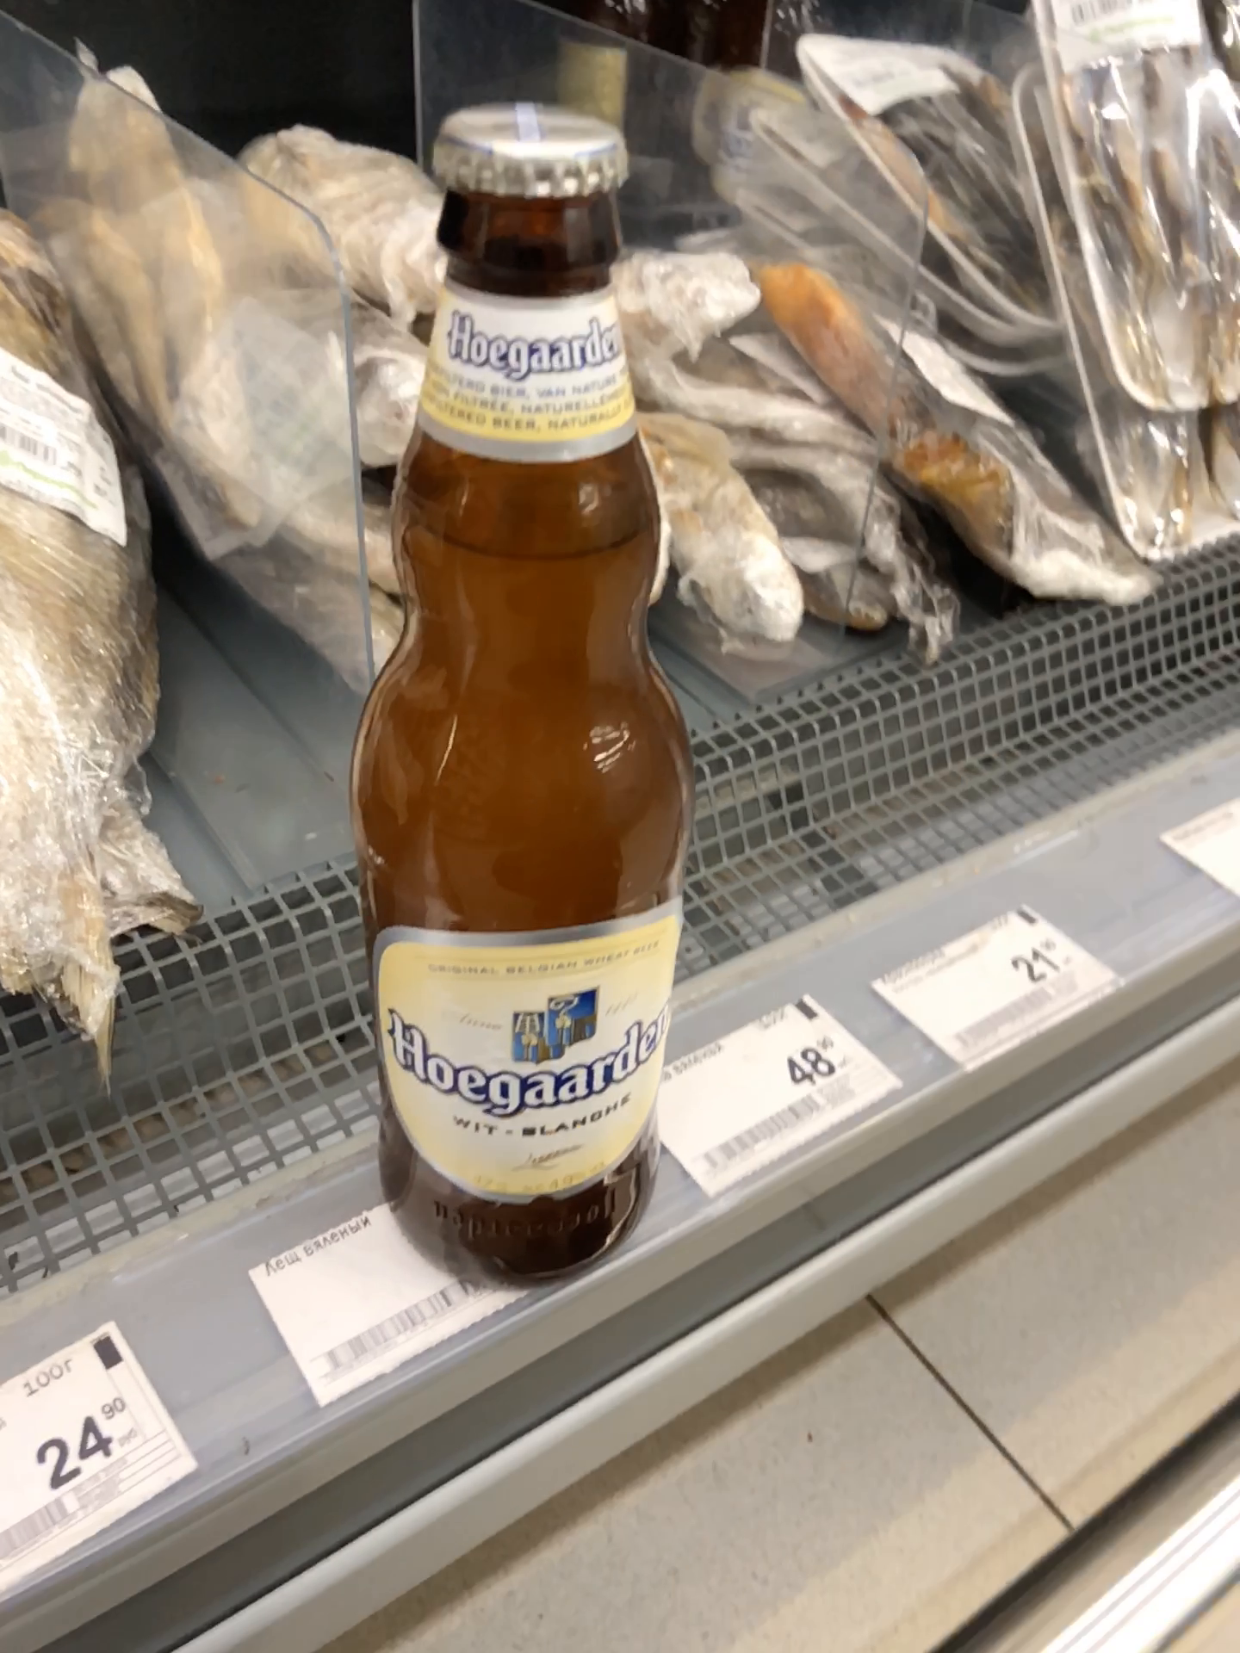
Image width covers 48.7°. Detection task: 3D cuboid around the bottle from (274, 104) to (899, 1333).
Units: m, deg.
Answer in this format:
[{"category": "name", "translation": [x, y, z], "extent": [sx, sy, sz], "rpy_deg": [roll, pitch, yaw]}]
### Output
[{"category": "bottle", "translation": [-0.016, -0.004, 0.264], "extent": [0.070, 0.229, 0.070], "rpy_deg": [3, 39, -3]}]
